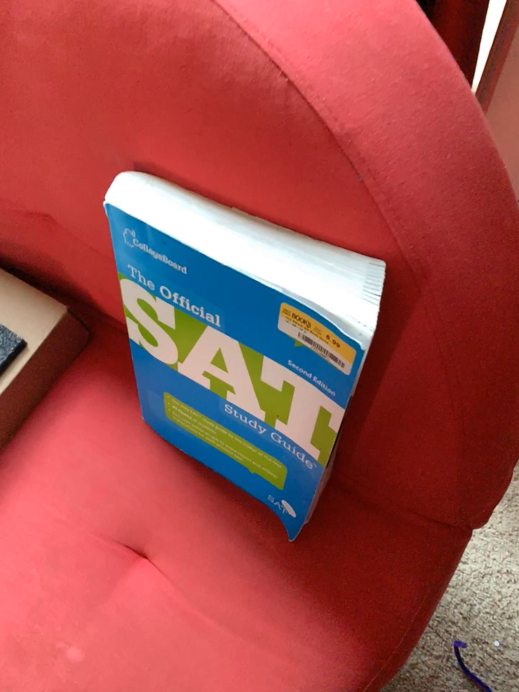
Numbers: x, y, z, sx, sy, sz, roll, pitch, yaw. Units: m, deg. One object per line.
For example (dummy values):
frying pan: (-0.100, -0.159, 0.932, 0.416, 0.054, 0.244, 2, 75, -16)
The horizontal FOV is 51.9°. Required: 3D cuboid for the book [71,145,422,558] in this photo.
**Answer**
book: (-0.029, 0.012, 0.435, 0.231, 0.259, 0.080, 31, 48, 23)
